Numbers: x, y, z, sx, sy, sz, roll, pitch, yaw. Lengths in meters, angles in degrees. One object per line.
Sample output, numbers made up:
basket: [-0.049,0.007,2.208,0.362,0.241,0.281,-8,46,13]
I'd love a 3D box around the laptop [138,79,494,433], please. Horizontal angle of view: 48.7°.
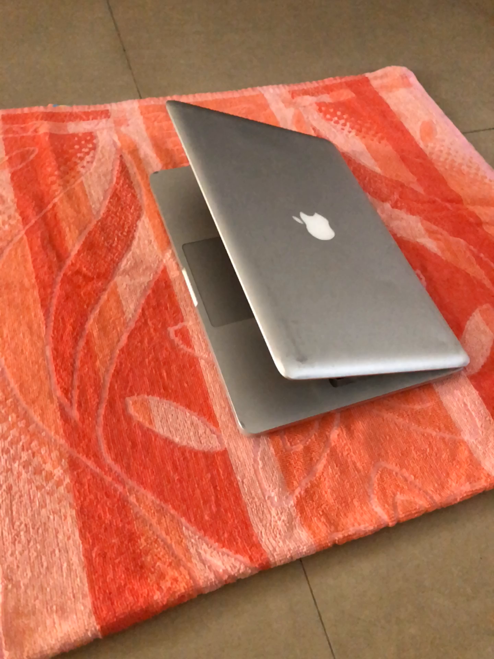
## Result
laptop: [0.050,-0.090,0.513,0.223,0.086,0.311,-14,61,-16]
